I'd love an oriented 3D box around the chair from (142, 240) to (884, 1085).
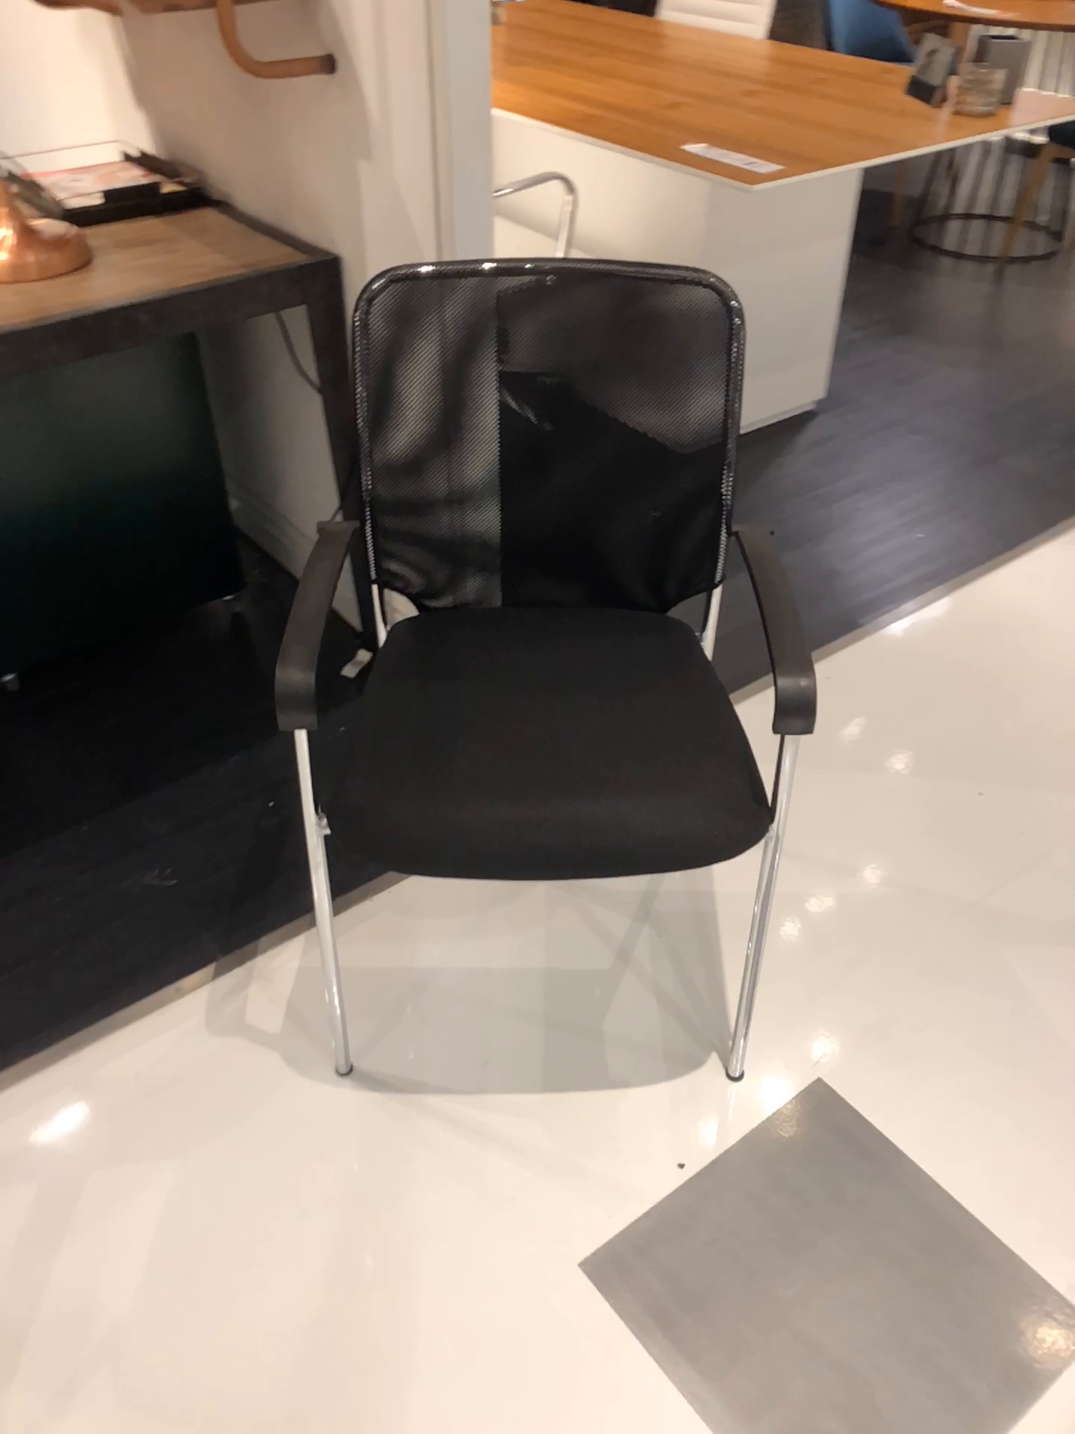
[{"bbox_3d":[-0.021,-0.044,1.404,0.590,0.863,0.514,0,38,0],"label":"chair"}]
